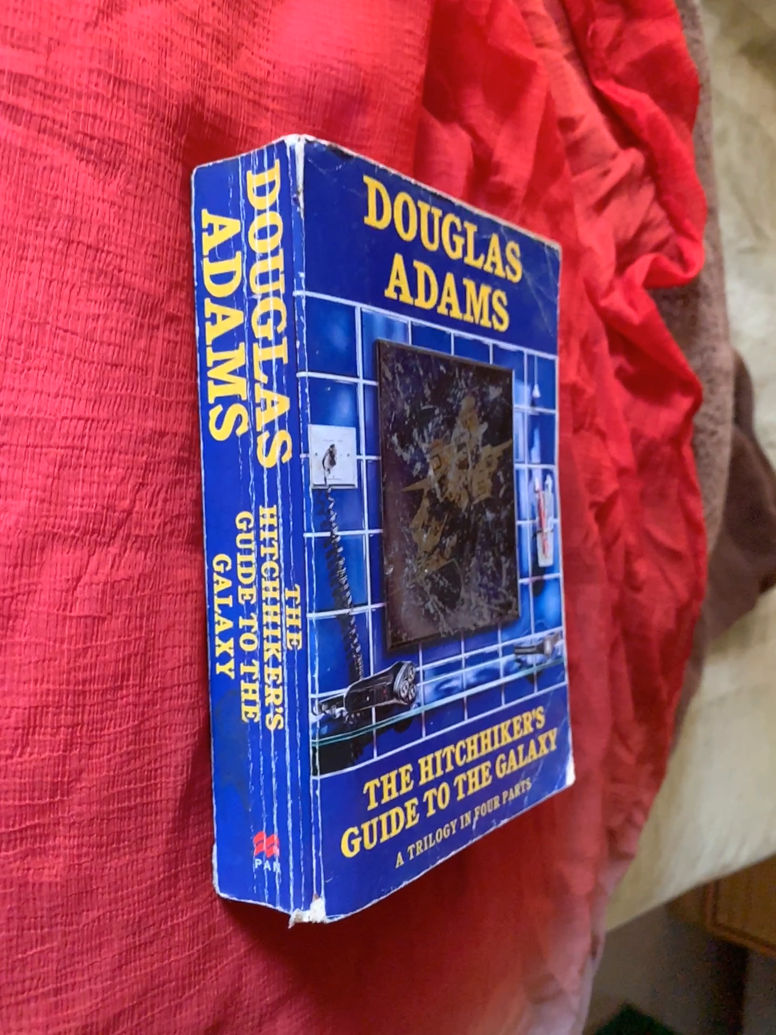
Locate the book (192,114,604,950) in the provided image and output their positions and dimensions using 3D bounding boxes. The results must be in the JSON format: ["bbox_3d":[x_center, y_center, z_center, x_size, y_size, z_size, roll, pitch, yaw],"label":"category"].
[{"bbox_3d":[0.012,0.002,0.246,0.131,0.044,0.187,-2,90,-49],"label":"book"}]
